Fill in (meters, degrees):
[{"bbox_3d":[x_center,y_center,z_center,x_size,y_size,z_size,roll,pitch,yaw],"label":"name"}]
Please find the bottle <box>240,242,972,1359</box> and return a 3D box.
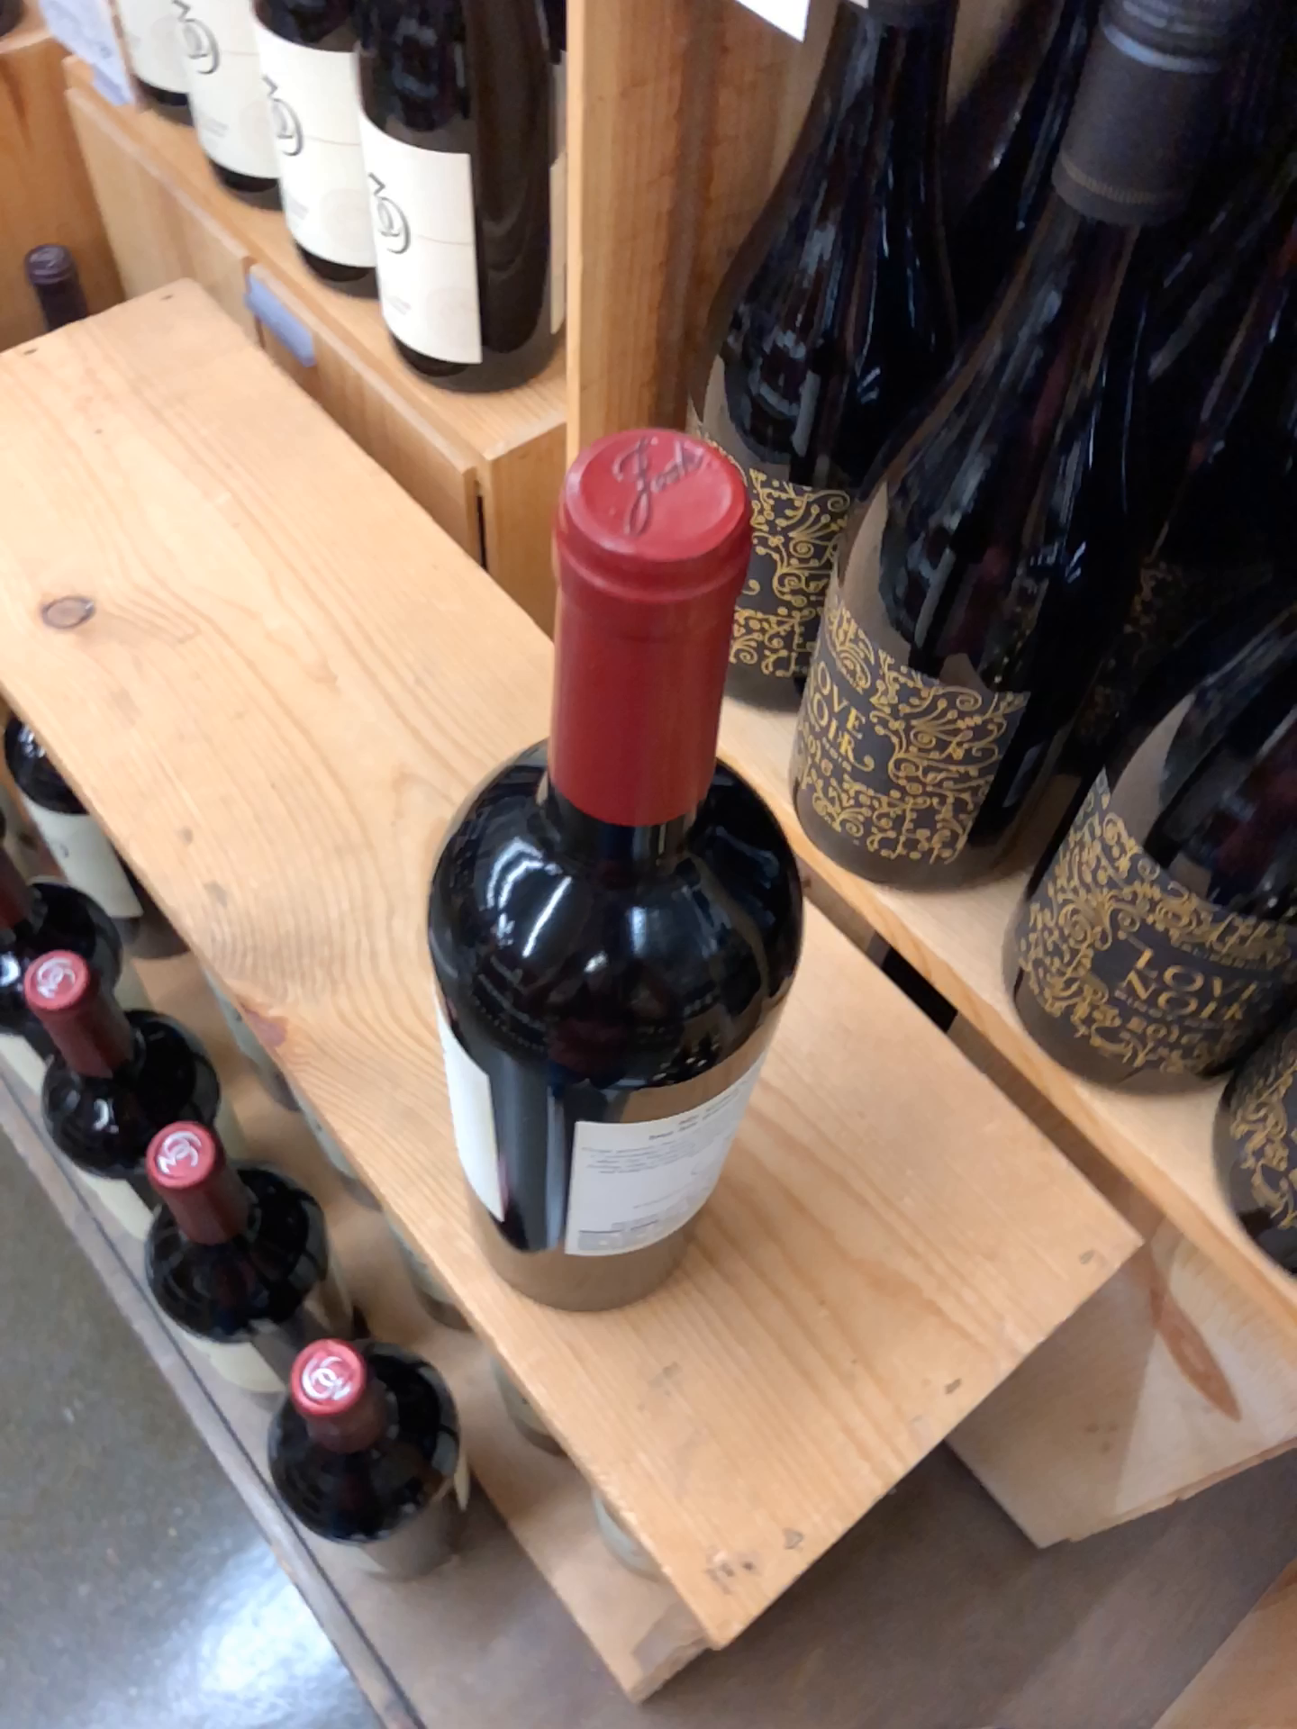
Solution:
[{"bbox_3d":[-0.009,0.024,0.323,0.080,0.294,0.080,1,58,-2],"label":"bottle"}]
